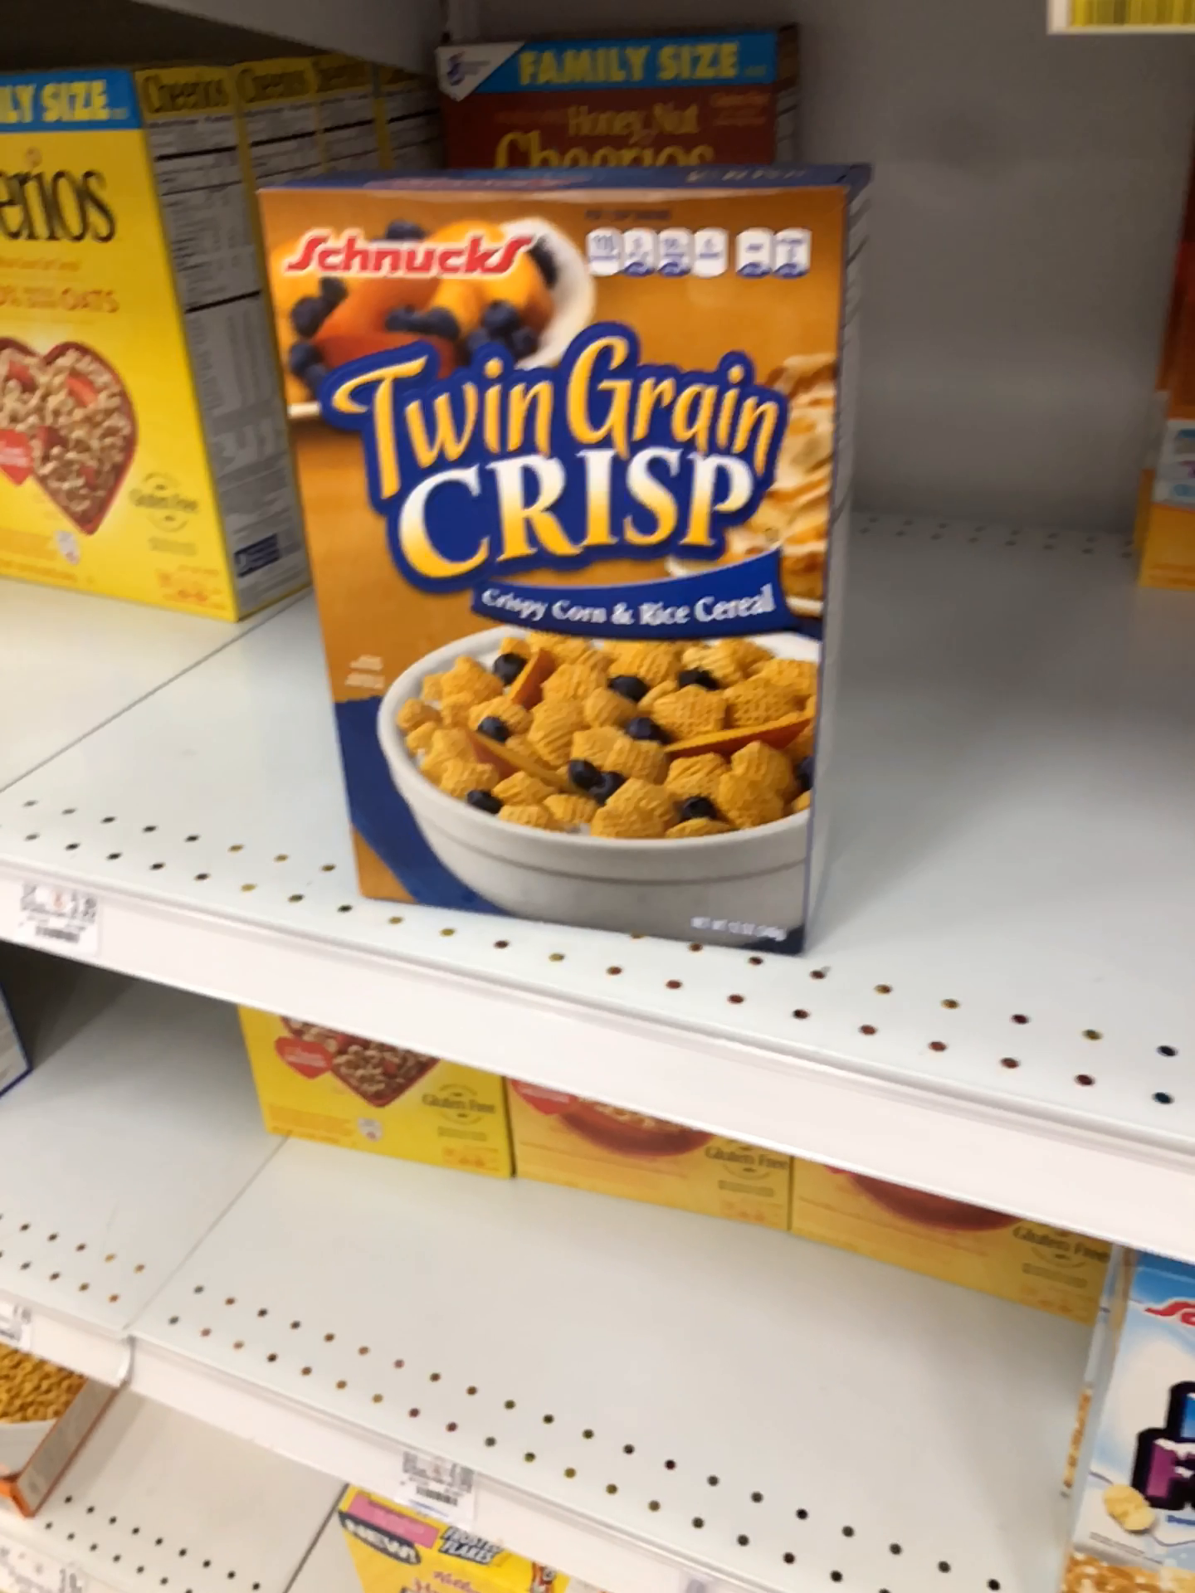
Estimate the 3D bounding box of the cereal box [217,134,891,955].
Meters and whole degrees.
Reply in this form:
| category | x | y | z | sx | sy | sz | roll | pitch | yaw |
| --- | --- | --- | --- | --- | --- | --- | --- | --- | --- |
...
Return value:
| category | x | y | z | sx | sy | sz | roll | pitch | yaw |
| --- | --- | --- | --- | --- | --- | --- | --- | --- | --- |
| cereal box | -0.007 | -0.088 | 0.510 | 0.210 | 0.289 | 0.070 | 6 | 32 | 14 |
